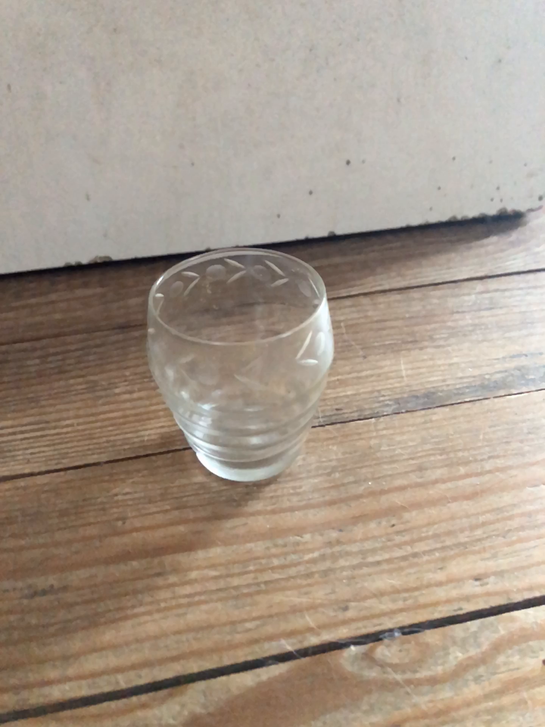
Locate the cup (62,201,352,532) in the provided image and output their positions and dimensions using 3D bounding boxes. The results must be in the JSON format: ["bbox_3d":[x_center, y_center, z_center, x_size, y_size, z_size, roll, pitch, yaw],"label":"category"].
[{"bbox_3d":[-0.016,-0.001,0.169,0.050,0.060,0.050,0,39,0],"label":"cup"}]
